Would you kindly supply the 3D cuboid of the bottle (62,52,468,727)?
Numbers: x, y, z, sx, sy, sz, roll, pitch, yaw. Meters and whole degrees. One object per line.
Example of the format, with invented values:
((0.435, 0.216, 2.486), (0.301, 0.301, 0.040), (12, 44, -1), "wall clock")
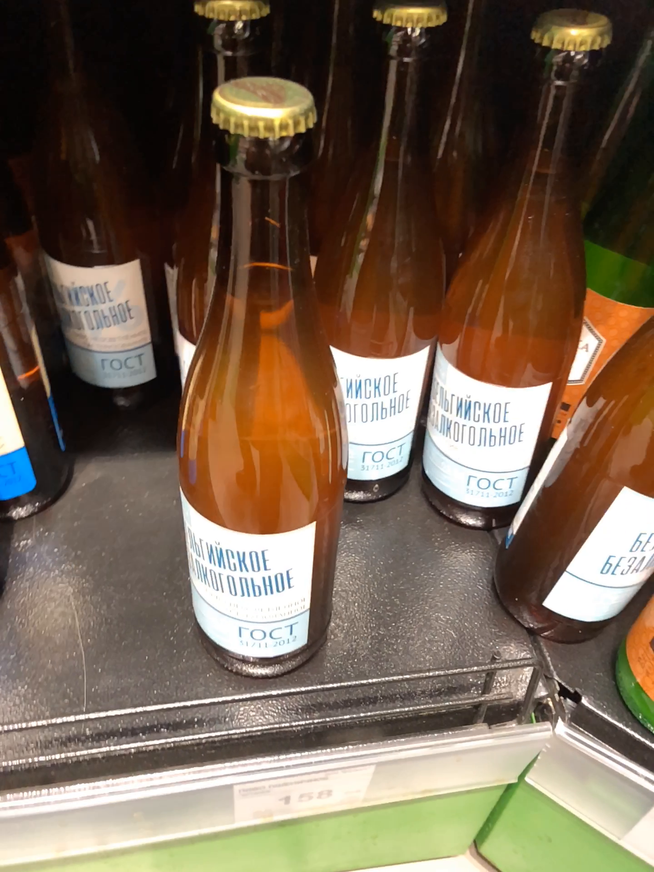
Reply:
((-0.023, 0.003, 0.288), (0.080, 0.254, 0.080), (3, 43, -3), "bottle")
